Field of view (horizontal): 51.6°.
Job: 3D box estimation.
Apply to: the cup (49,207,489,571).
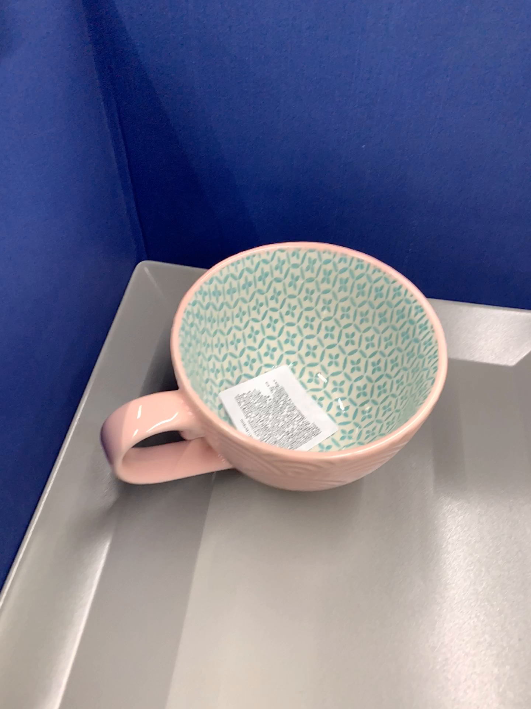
[{"bbox_3d":[-0.002,0.010,0.251,0.150,0.064,0.105,-19,62,-16],"label":"cup"}]
